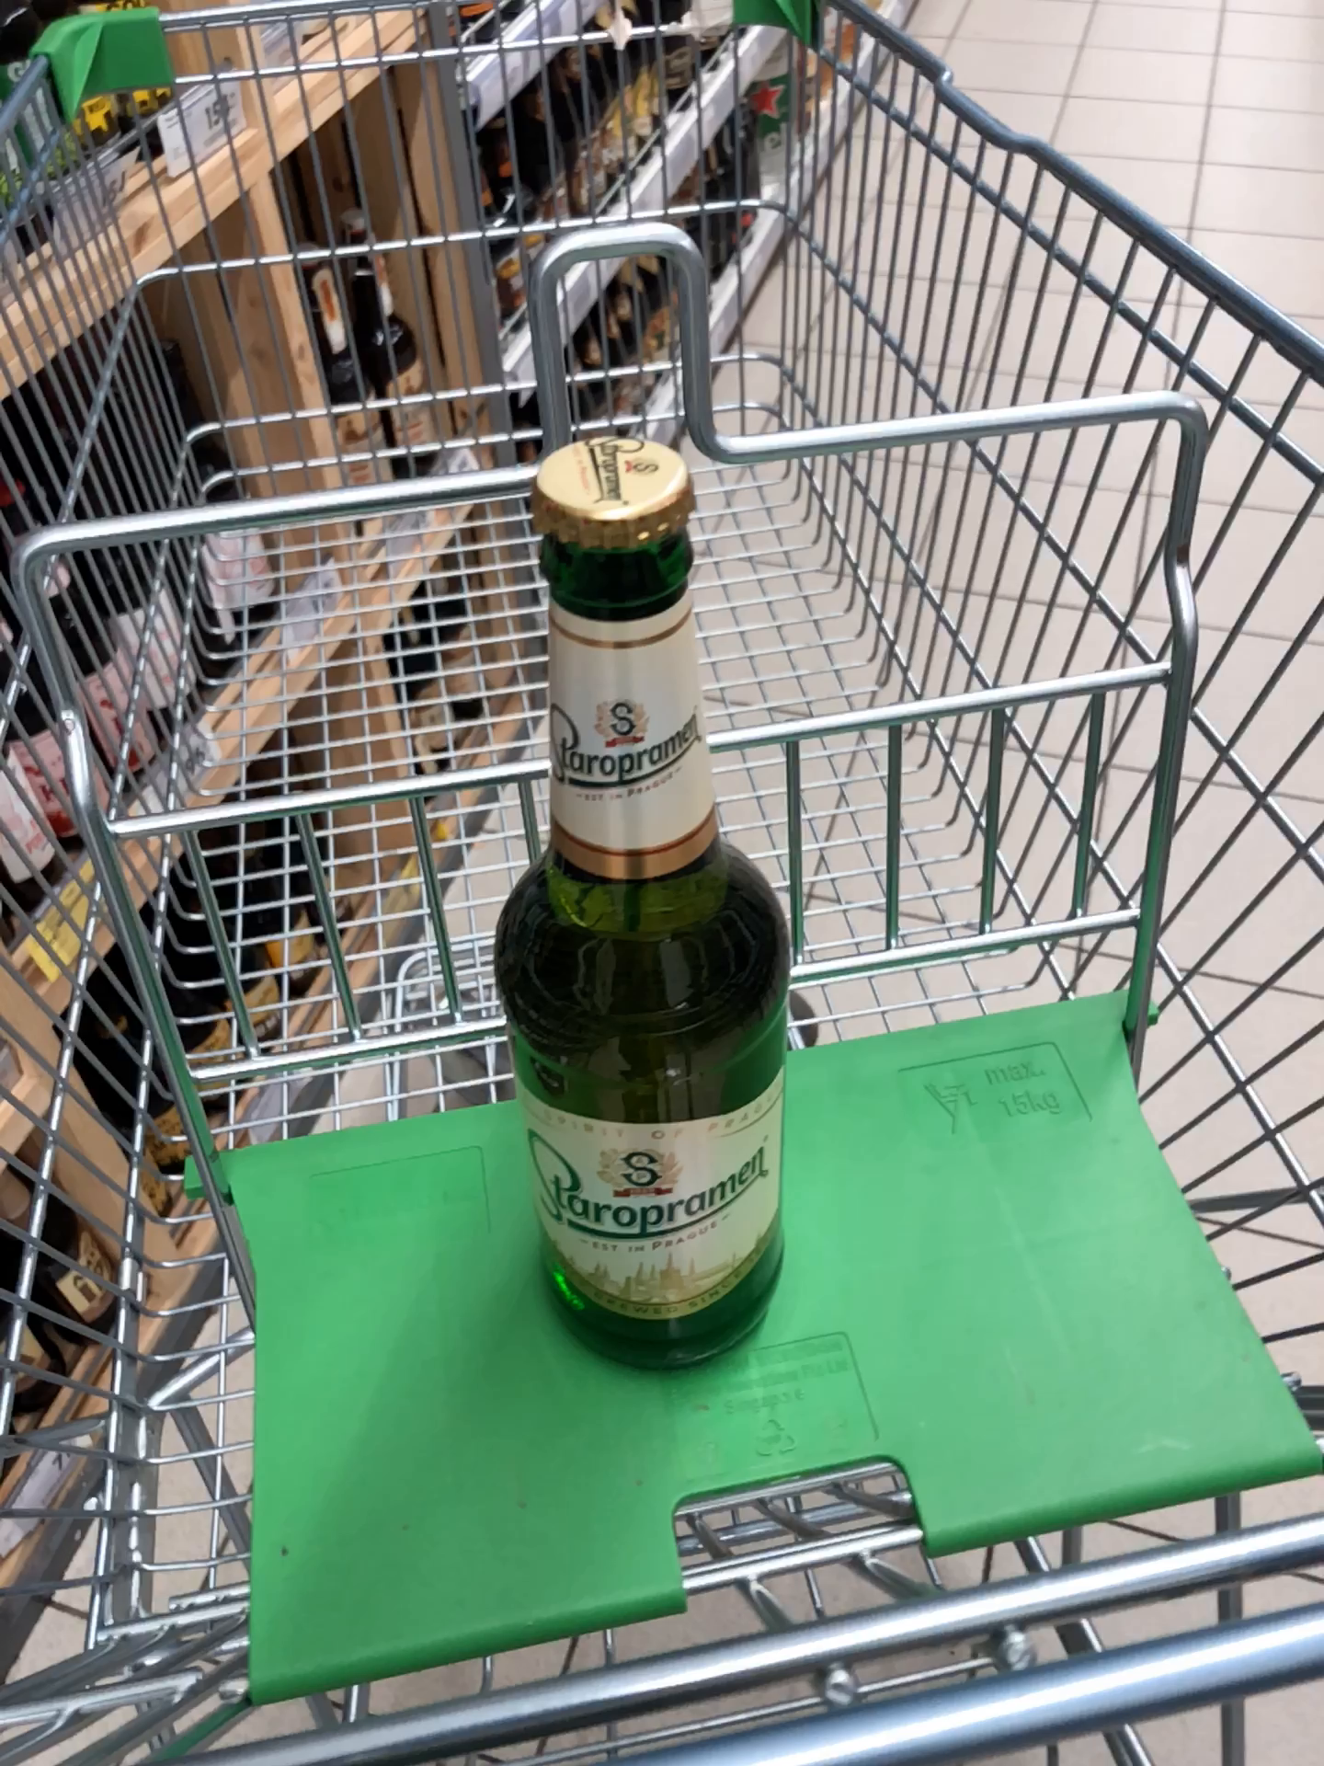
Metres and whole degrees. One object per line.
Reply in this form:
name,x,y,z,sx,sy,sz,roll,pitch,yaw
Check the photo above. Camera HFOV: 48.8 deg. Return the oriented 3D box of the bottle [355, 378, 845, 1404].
bottle,-0.005,0.022,0.317,0.070,0.239,0.070,-2,45,2
